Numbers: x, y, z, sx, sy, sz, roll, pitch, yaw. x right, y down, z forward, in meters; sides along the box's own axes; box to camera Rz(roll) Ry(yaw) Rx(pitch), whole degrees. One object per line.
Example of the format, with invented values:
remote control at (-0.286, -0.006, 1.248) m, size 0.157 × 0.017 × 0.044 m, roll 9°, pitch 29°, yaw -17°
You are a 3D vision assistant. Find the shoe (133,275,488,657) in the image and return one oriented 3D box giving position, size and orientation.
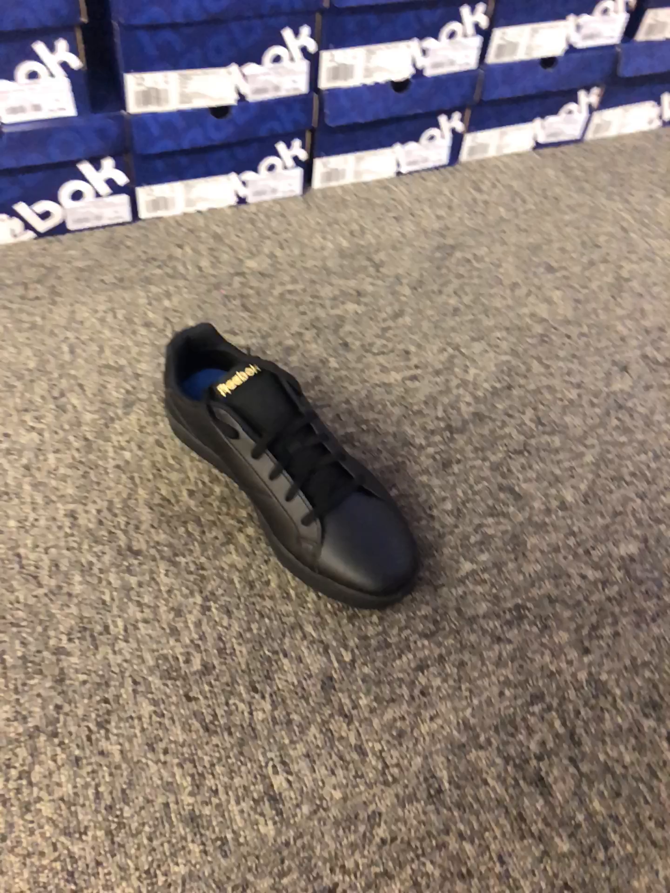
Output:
shoe at (-0.029, 0.003, 0.525) m, size 0.099 × 0.089 × 0.260 m, roll -30°, pitch 62°, yaw -27°
